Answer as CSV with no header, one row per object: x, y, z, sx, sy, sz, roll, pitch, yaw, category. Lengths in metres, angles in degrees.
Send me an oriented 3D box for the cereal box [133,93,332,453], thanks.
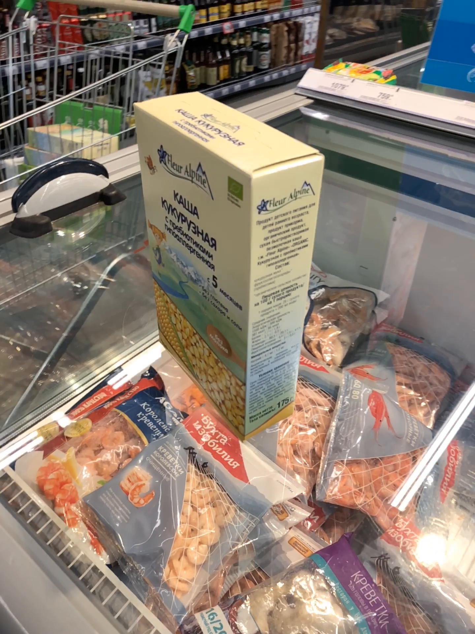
-0.011,-0.027,0.363,0.050,0.209,0.131,-22,44,-27,cereal box
